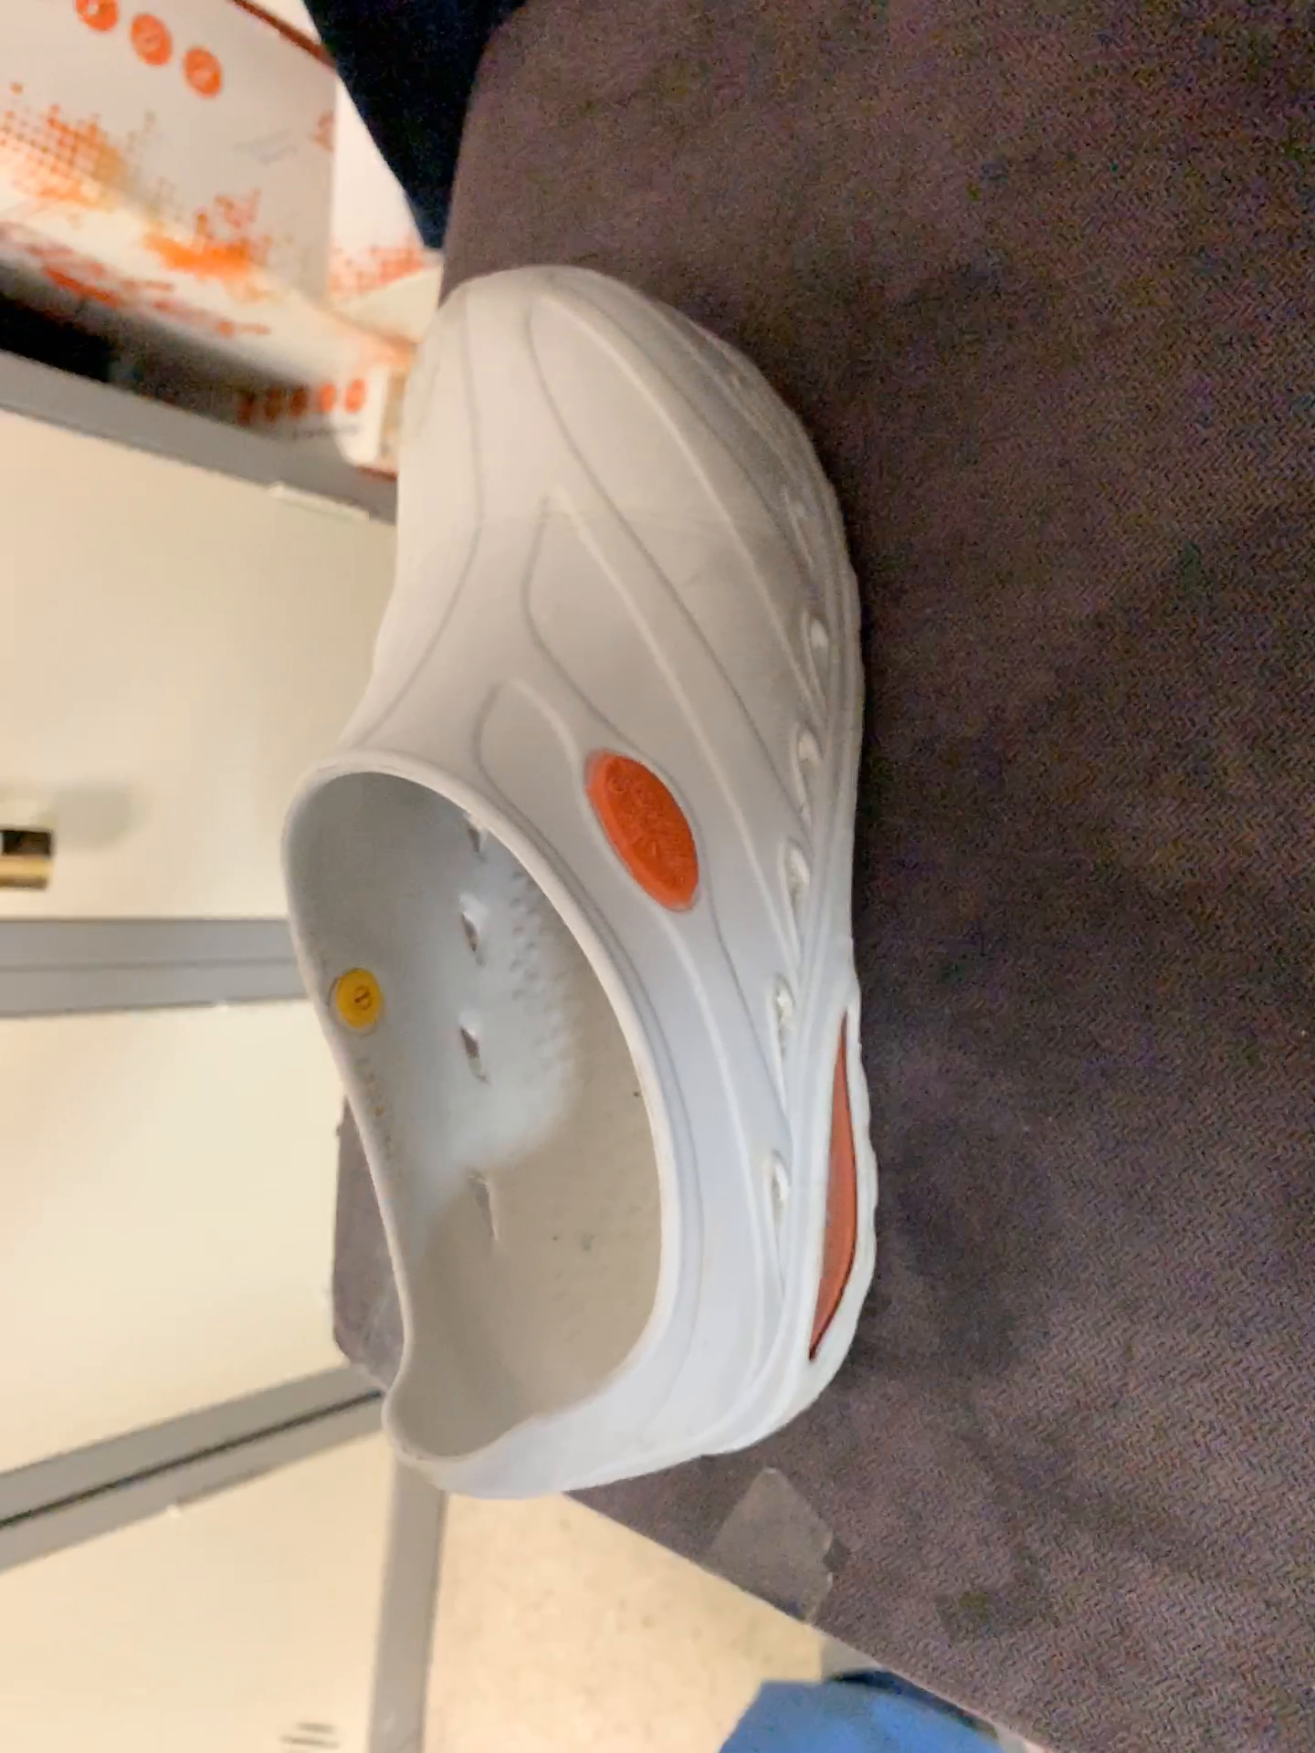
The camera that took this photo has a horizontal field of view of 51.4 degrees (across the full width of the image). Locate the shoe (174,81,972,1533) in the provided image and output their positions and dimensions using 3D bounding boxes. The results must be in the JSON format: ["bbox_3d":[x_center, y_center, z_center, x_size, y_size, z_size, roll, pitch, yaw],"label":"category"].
[{"bbox_3d":[-0.018,-0.008,0.260,0.092,0.093,0.213,-12,80,38],"label":"shoe"}]
